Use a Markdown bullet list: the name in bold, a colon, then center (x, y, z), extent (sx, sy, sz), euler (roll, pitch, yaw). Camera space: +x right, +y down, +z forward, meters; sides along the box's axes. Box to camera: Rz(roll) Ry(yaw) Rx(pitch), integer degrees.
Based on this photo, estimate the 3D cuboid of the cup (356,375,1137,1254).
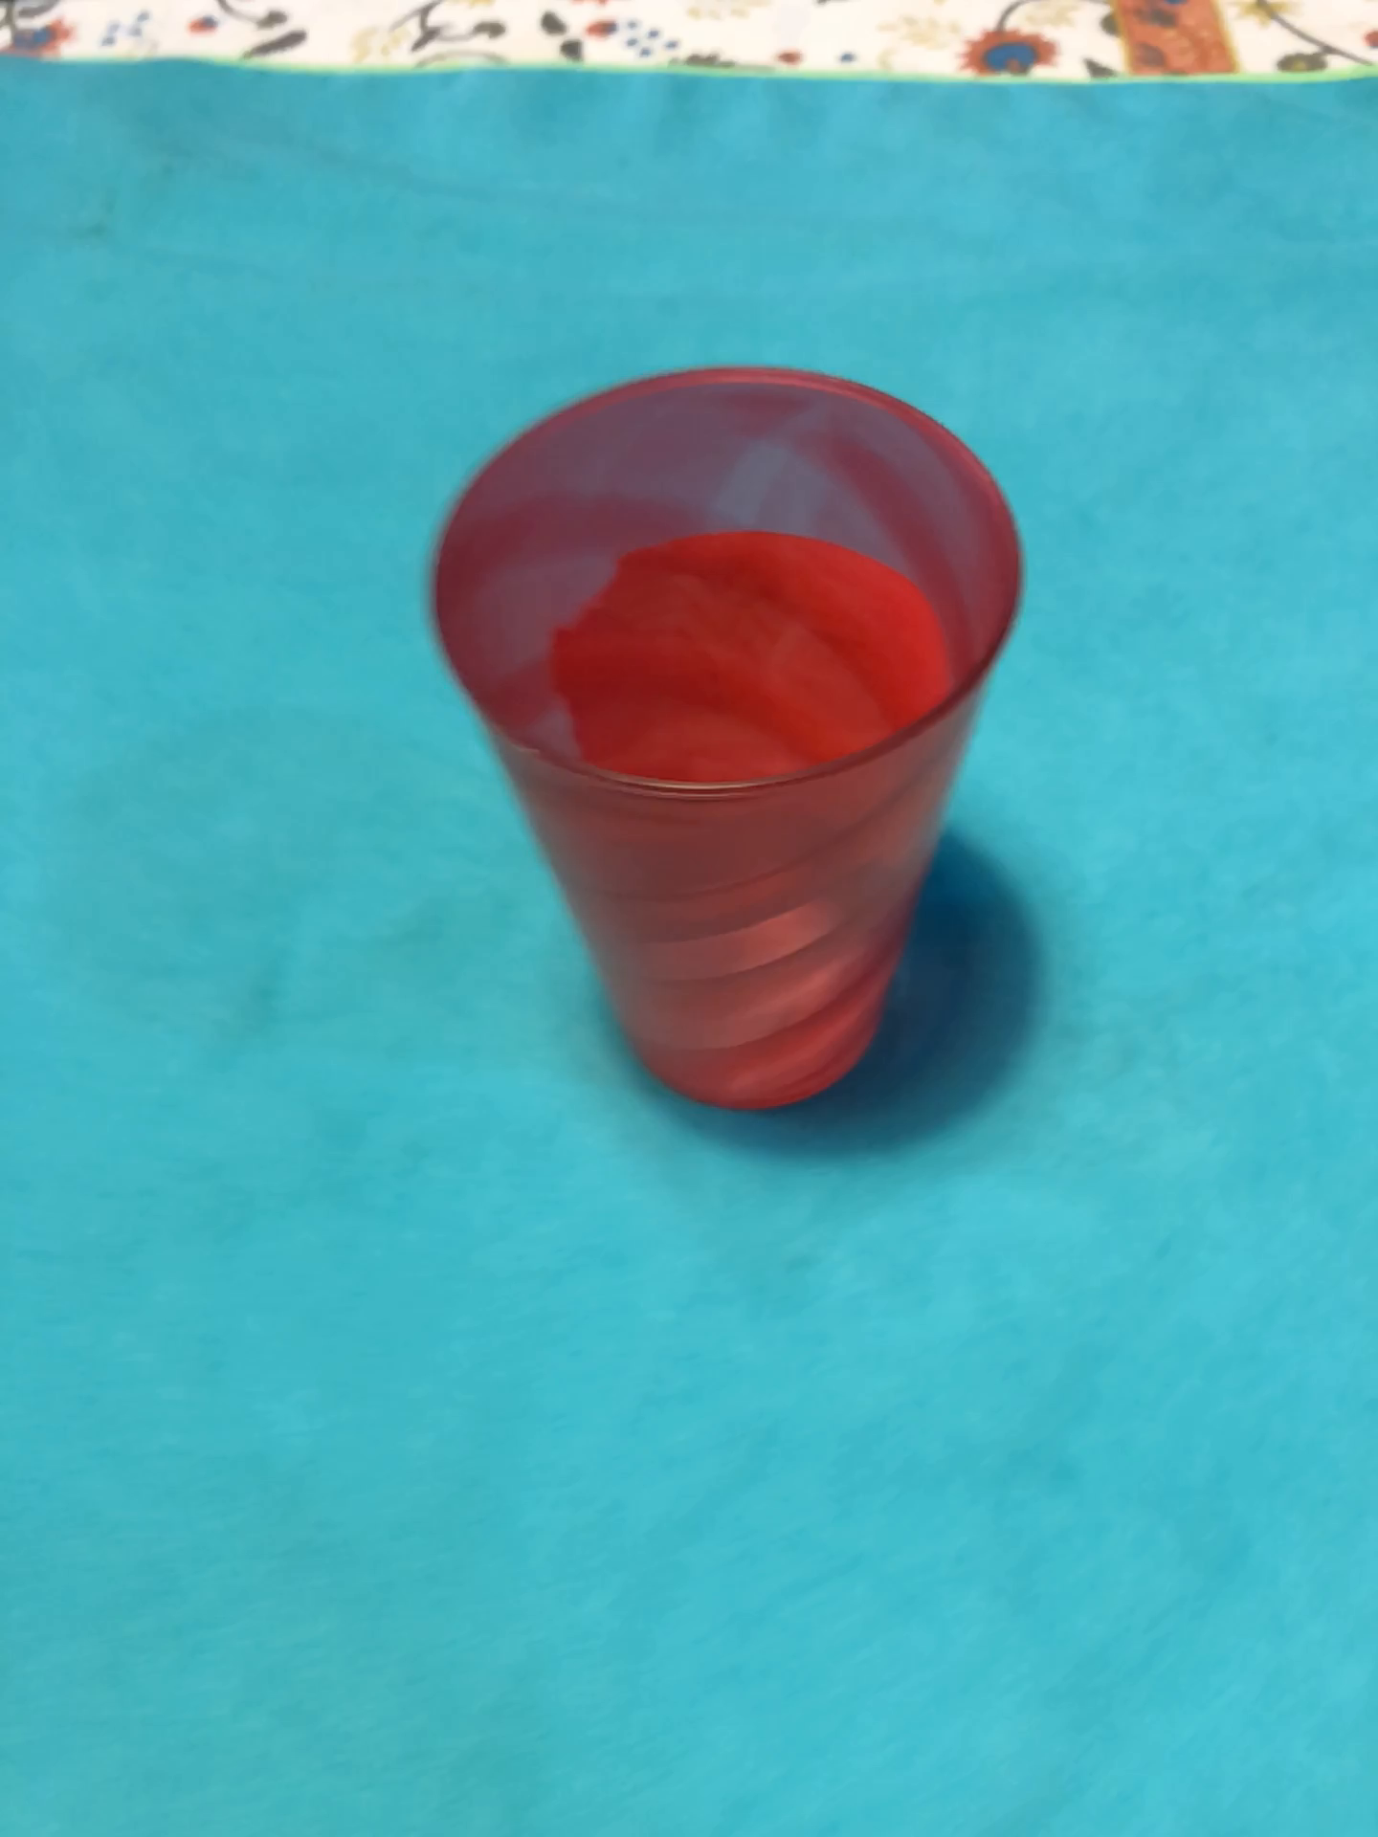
- **cup**: center (0.012, -0.012, 0.249), extent (0.090, 0.110, 0.090), euler (-2, 56, 3)
